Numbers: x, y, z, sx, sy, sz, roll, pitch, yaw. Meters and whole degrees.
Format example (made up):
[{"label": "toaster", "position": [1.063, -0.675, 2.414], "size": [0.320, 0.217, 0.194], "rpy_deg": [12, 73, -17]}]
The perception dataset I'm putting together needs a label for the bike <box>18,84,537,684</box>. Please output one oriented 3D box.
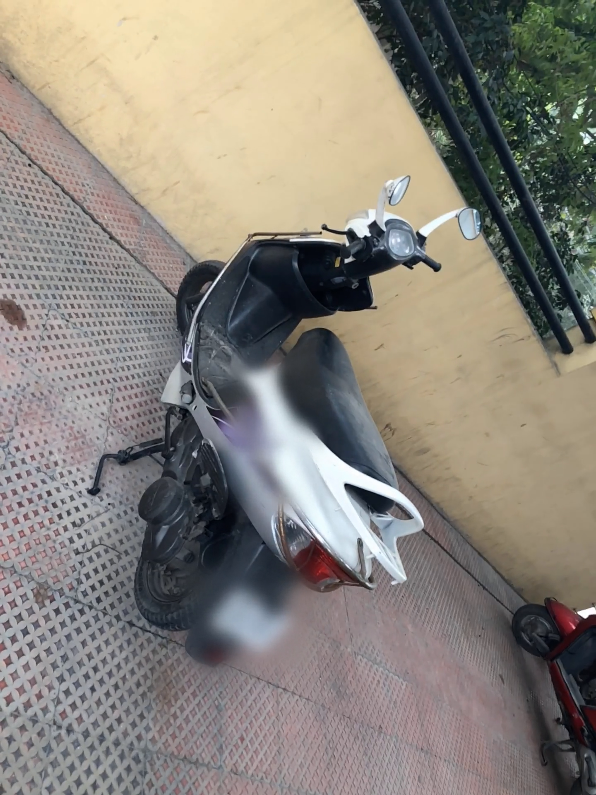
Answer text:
[{"label": "bike", "position": [-0.063, -0.097, 2.045], "size": [0.600, 1.083, 1.477], "rpy_deg": [45, 30, -38]}]
